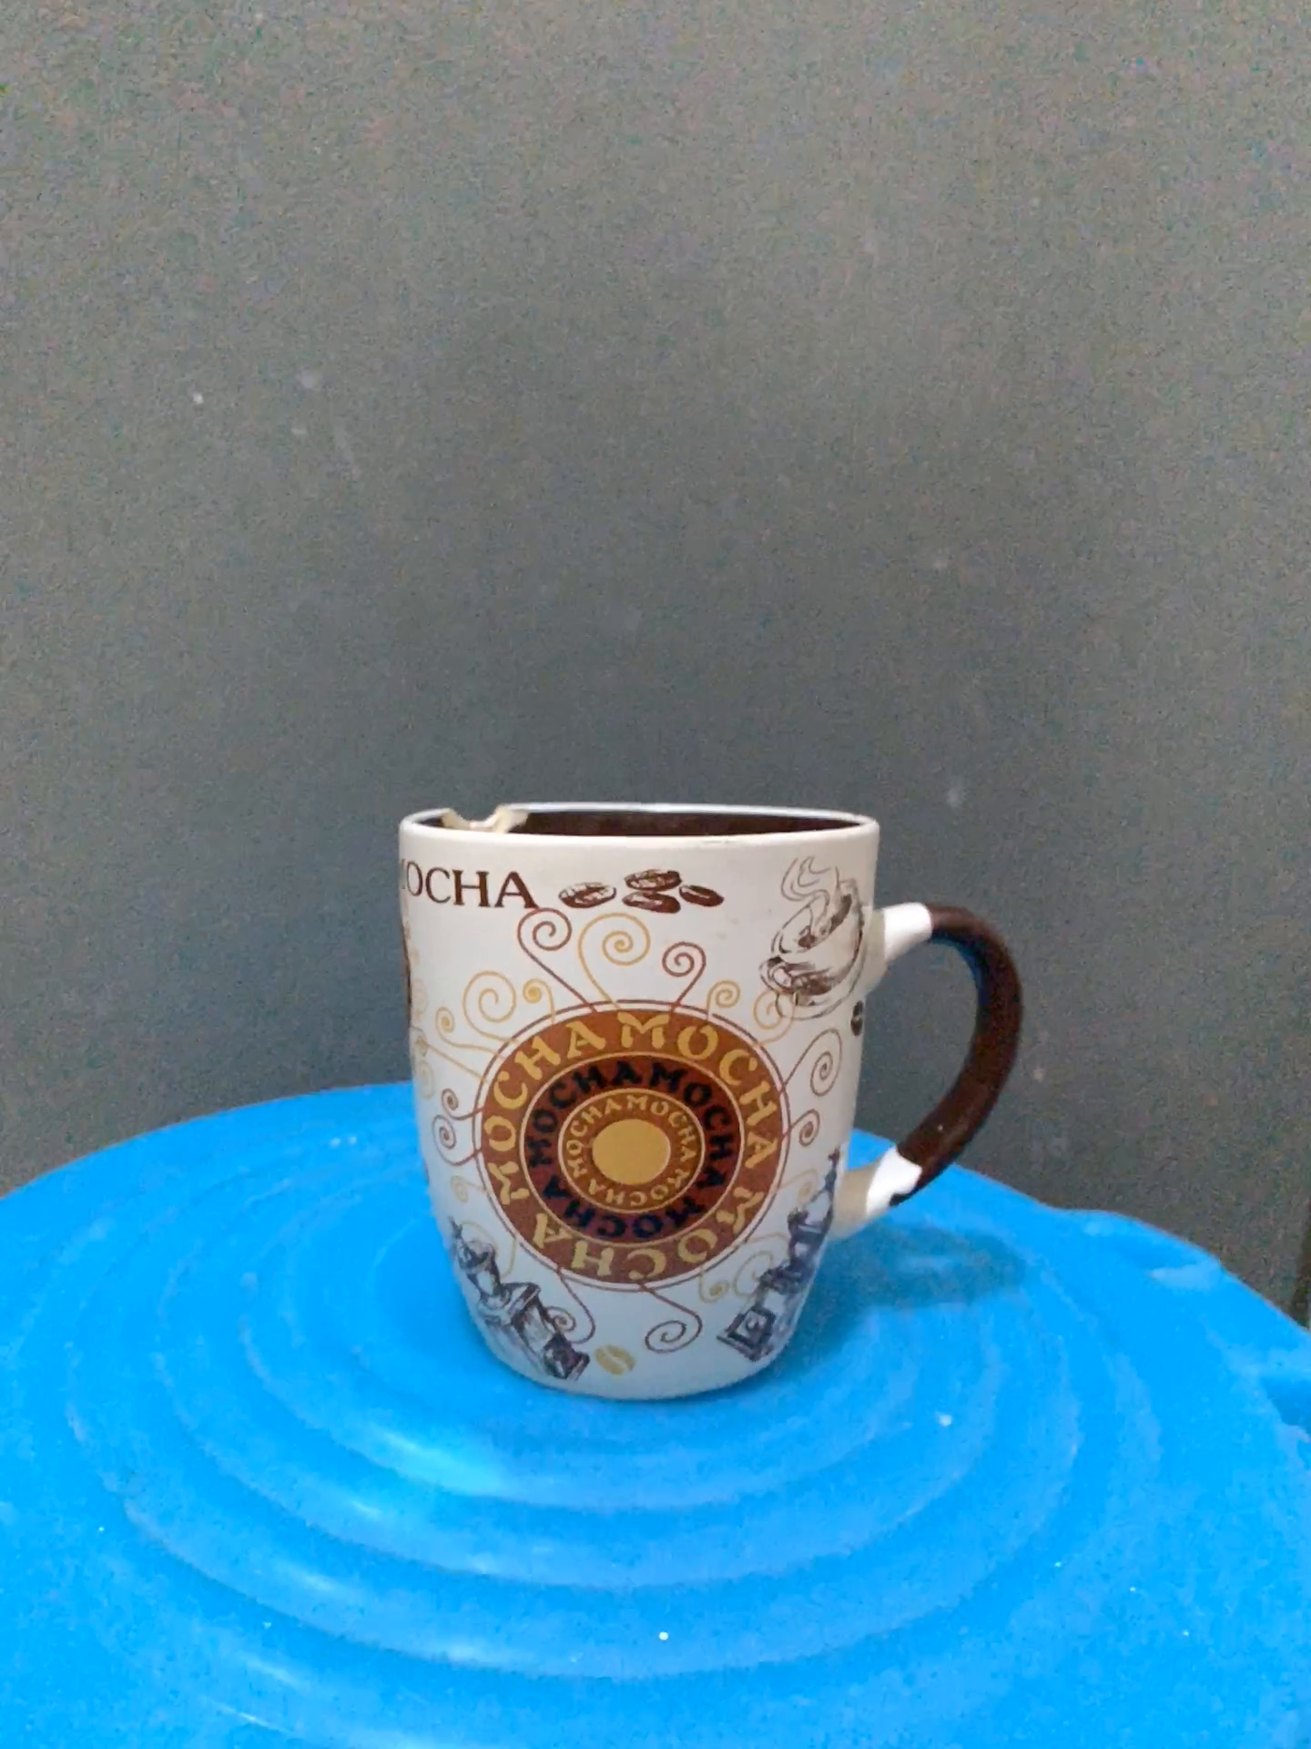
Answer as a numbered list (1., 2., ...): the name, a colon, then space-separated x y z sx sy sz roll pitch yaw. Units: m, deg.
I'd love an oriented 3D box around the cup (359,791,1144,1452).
1. cup: 0.010 0.030 0.229 0.109 0.083 0.070 -1 7 -17
